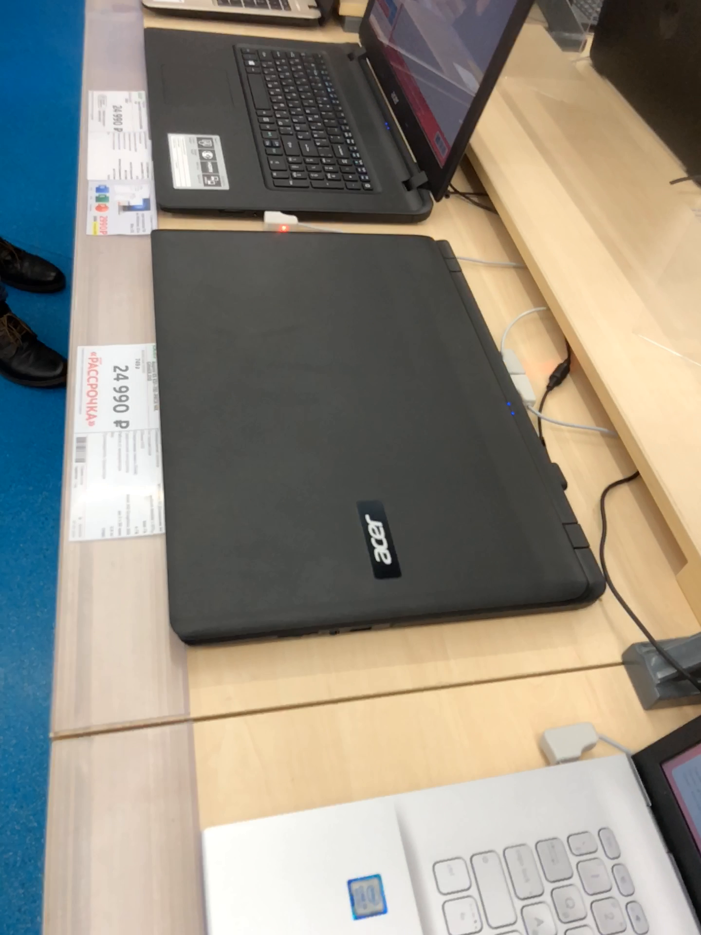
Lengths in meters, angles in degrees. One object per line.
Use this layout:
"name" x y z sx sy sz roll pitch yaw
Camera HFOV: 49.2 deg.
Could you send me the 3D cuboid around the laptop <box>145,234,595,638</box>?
"laptop" -0.011 -0.066 0.619 0.278 0.005 0.411 -5 52 -14
